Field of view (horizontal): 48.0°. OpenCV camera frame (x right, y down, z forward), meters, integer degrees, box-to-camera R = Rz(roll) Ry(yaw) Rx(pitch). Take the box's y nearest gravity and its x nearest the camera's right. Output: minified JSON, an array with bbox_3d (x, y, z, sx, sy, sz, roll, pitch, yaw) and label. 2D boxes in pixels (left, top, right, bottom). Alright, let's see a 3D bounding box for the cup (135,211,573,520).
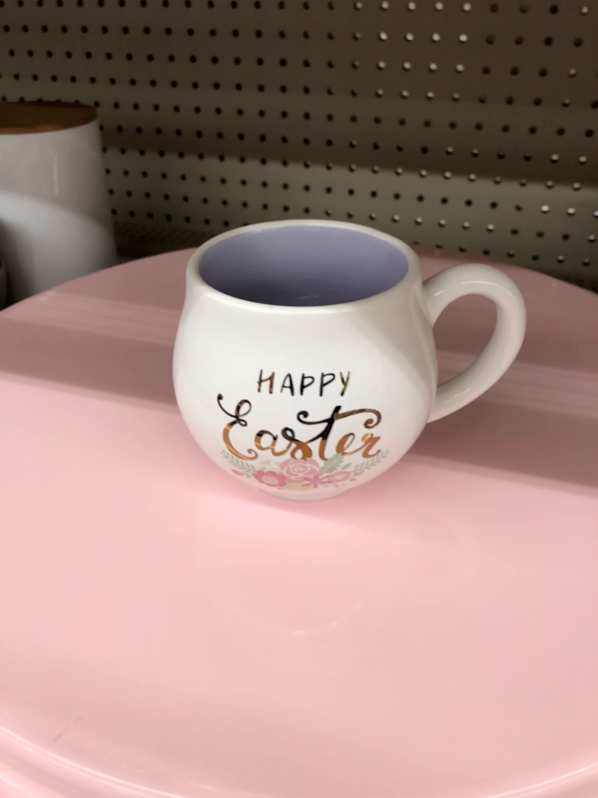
[{"bbox_3d":[0.016,-0.017,0.258,0.130,0.080,0.090,-2,34,-2],"label":"cup"}]
